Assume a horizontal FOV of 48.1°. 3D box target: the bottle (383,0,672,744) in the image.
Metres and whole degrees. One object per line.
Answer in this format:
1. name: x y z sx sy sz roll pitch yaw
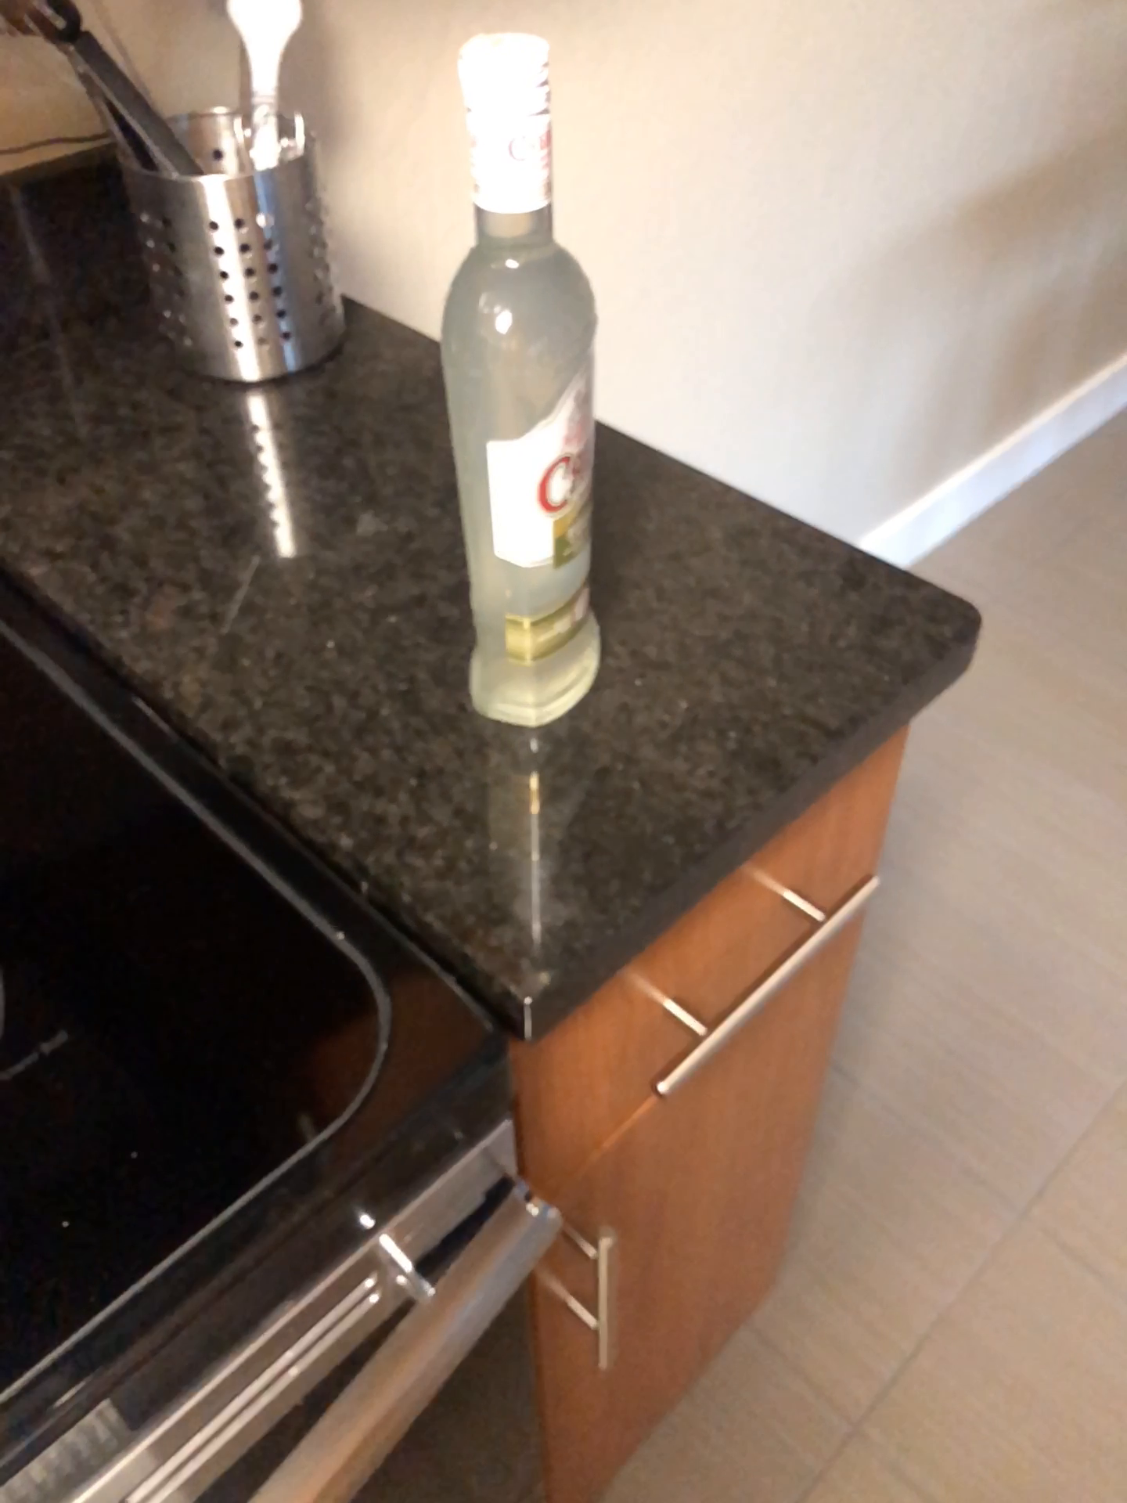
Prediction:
1. bottle: -0.008 -0.137 0.500 0.060 0.269 0.090 17 47 18
